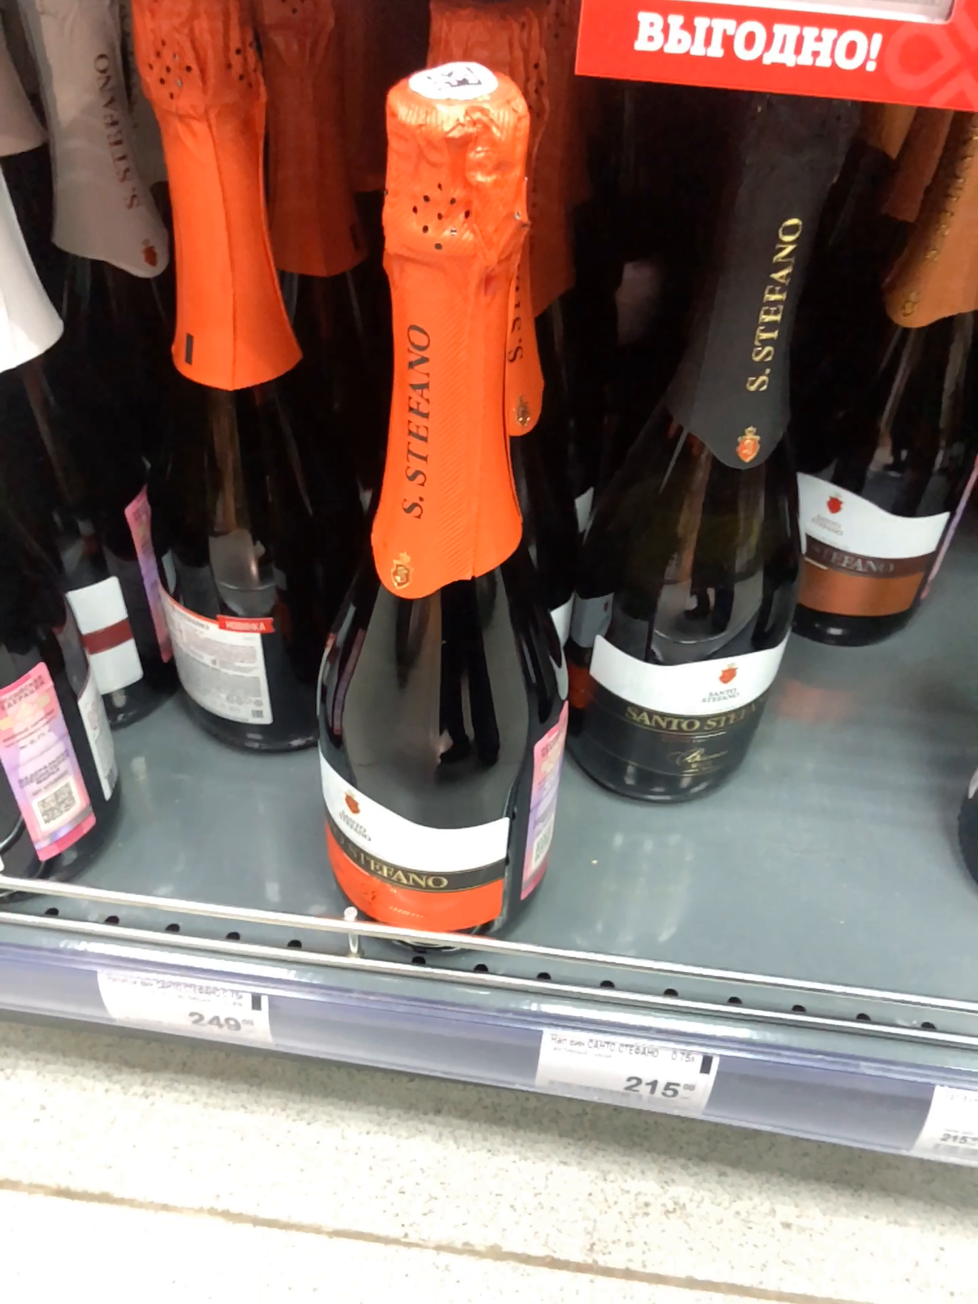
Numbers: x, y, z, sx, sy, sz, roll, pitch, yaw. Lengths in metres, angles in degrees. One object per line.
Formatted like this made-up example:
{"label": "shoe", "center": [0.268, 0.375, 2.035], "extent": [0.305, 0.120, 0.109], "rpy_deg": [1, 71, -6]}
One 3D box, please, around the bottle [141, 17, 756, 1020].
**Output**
{"label": "bottle", "center": [-0.014, -0.019, 0.352], "extent": [0.100, 0.298, 0.100], "rpy_deg": [2, 44, -2]}
